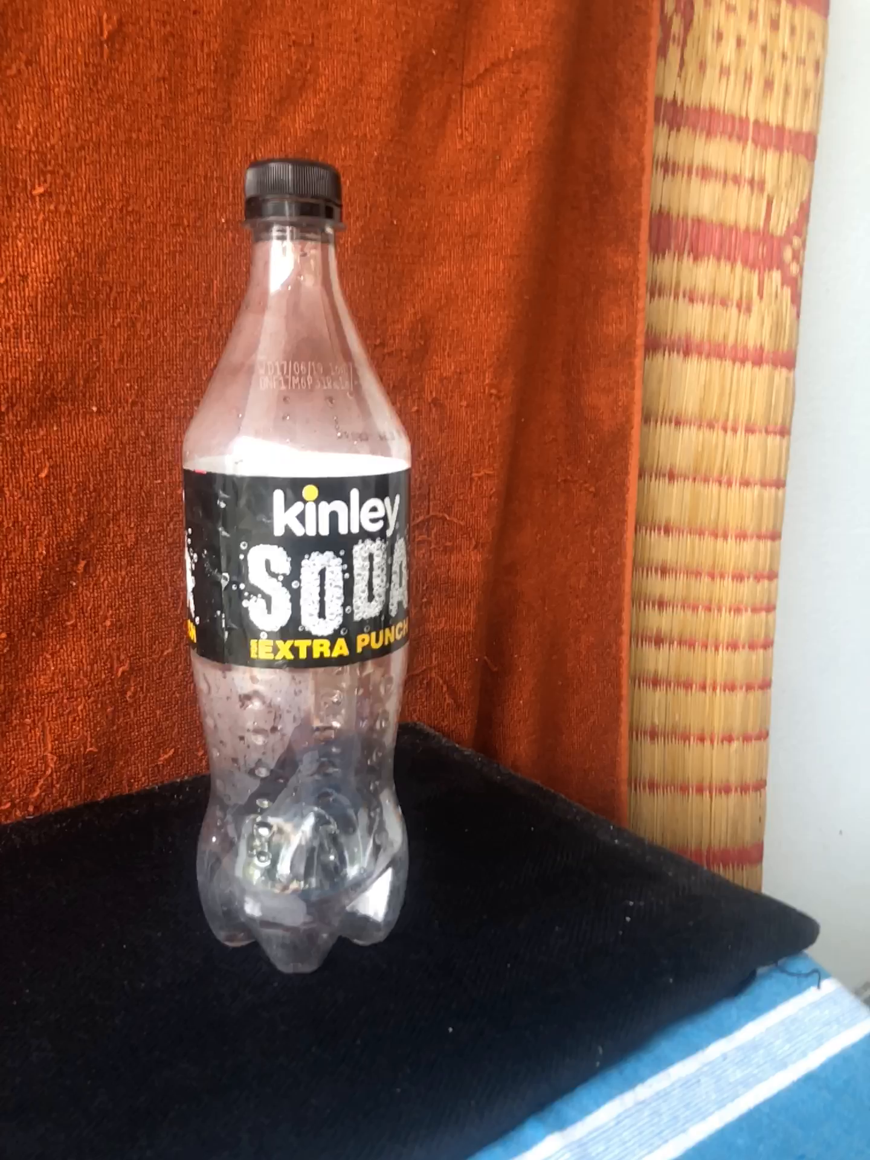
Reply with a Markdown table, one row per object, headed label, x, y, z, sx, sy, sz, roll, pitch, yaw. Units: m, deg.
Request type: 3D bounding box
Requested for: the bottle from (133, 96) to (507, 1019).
| label | x | y | z | sx | sy | sz | roll | pitch | yaw |
| --- | --- | --- | --- | --- | --- | --- | --- | --- | --- |
| bottle | -0.044 | -0.004 | 0.317 | 0.090 | 0.259 | 0.070 | -5 | 15 | -34 |
